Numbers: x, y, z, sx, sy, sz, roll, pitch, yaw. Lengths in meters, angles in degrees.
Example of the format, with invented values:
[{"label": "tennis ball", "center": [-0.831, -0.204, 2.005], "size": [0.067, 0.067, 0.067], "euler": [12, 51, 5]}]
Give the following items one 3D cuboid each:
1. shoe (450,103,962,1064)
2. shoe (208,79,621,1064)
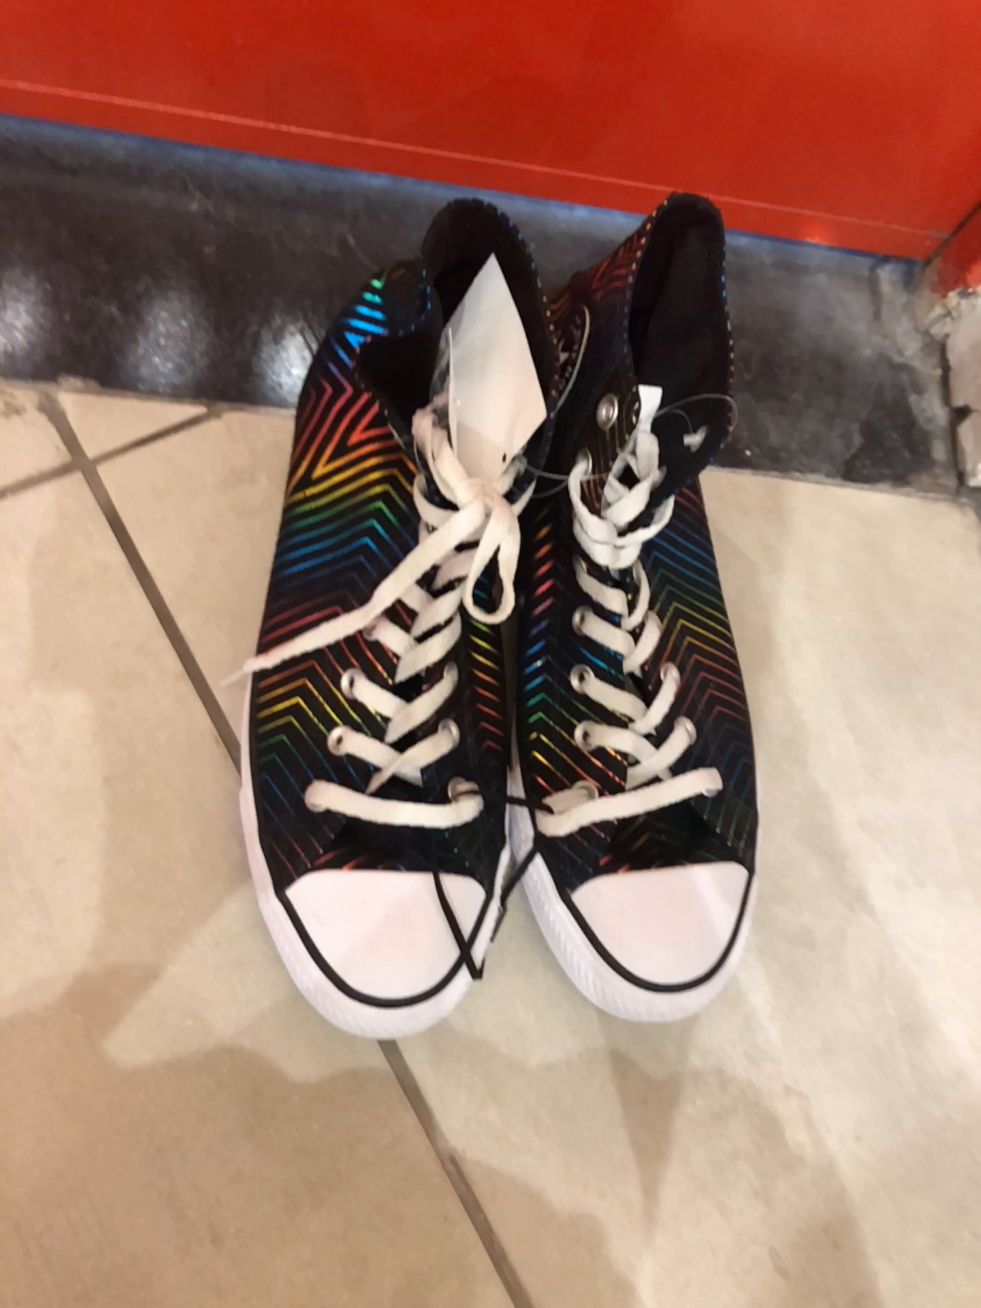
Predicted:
[{"label": "shoe", "center": [0.058, -0.022, 0.408], "size": [0.110, 0.140, 0.310], "euler": [-1, 74, -11]}, {"label": "shoe", "center": [-0.033, -0.023, 0.398], "size": [0.110, 0.140, 0.310], "euler": [2, 74, -10]}]
